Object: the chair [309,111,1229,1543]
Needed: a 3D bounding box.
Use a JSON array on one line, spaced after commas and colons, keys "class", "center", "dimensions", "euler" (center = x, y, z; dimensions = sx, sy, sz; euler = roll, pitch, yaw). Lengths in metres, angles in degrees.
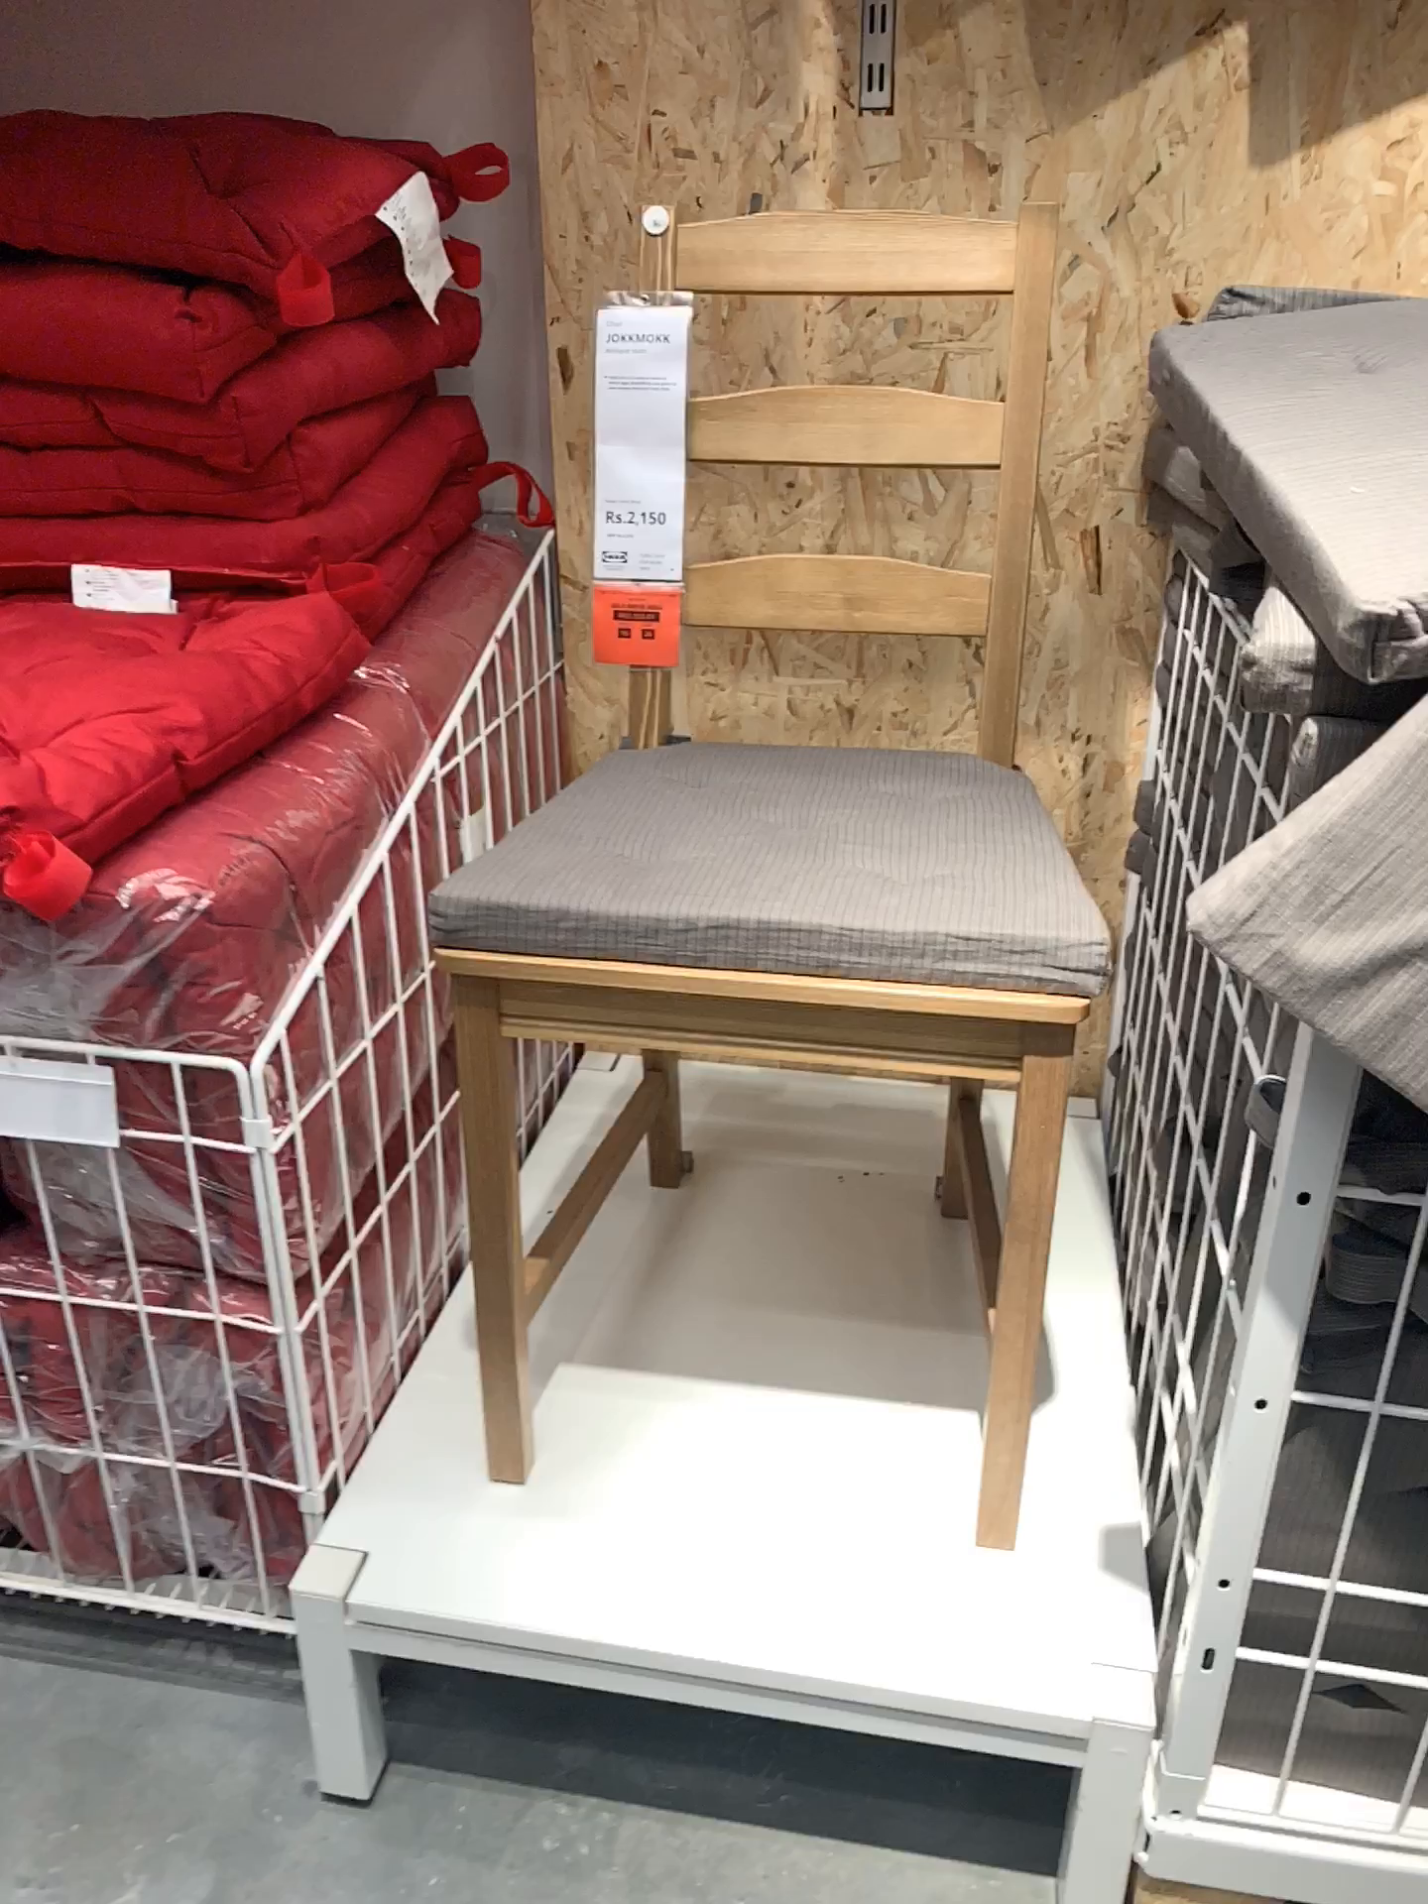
[{"class": "chair", "center": [0.061, -0.103, 1.095], "dimensions": [0.440, 0.866, 0.502], "euler": [4, 25, 9]}]
